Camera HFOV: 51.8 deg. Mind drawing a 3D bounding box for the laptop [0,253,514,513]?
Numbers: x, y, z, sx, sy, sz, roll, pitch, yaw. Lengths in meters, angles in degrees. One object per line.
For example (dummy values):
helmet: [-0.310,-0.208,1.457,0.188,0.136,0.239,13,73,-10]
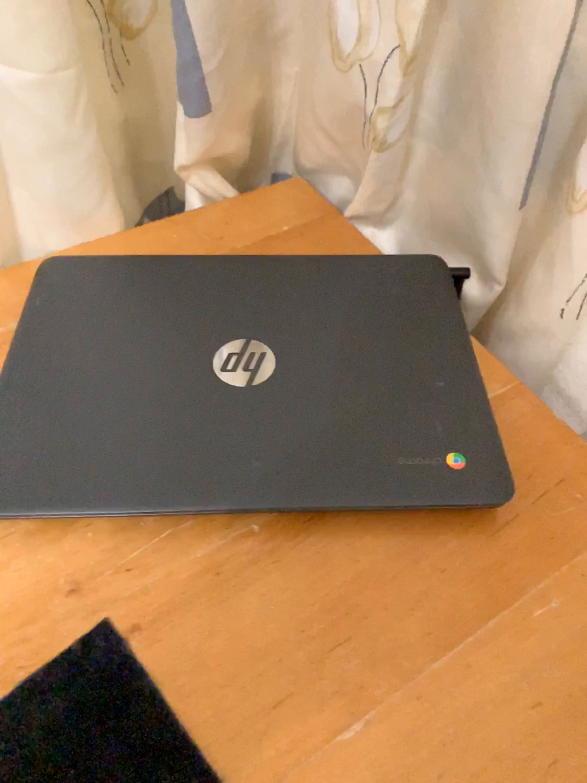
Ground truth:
laptop: [-0.029,-0.019,0.344,0.261,0.004,0.186,-1,50,-2]
